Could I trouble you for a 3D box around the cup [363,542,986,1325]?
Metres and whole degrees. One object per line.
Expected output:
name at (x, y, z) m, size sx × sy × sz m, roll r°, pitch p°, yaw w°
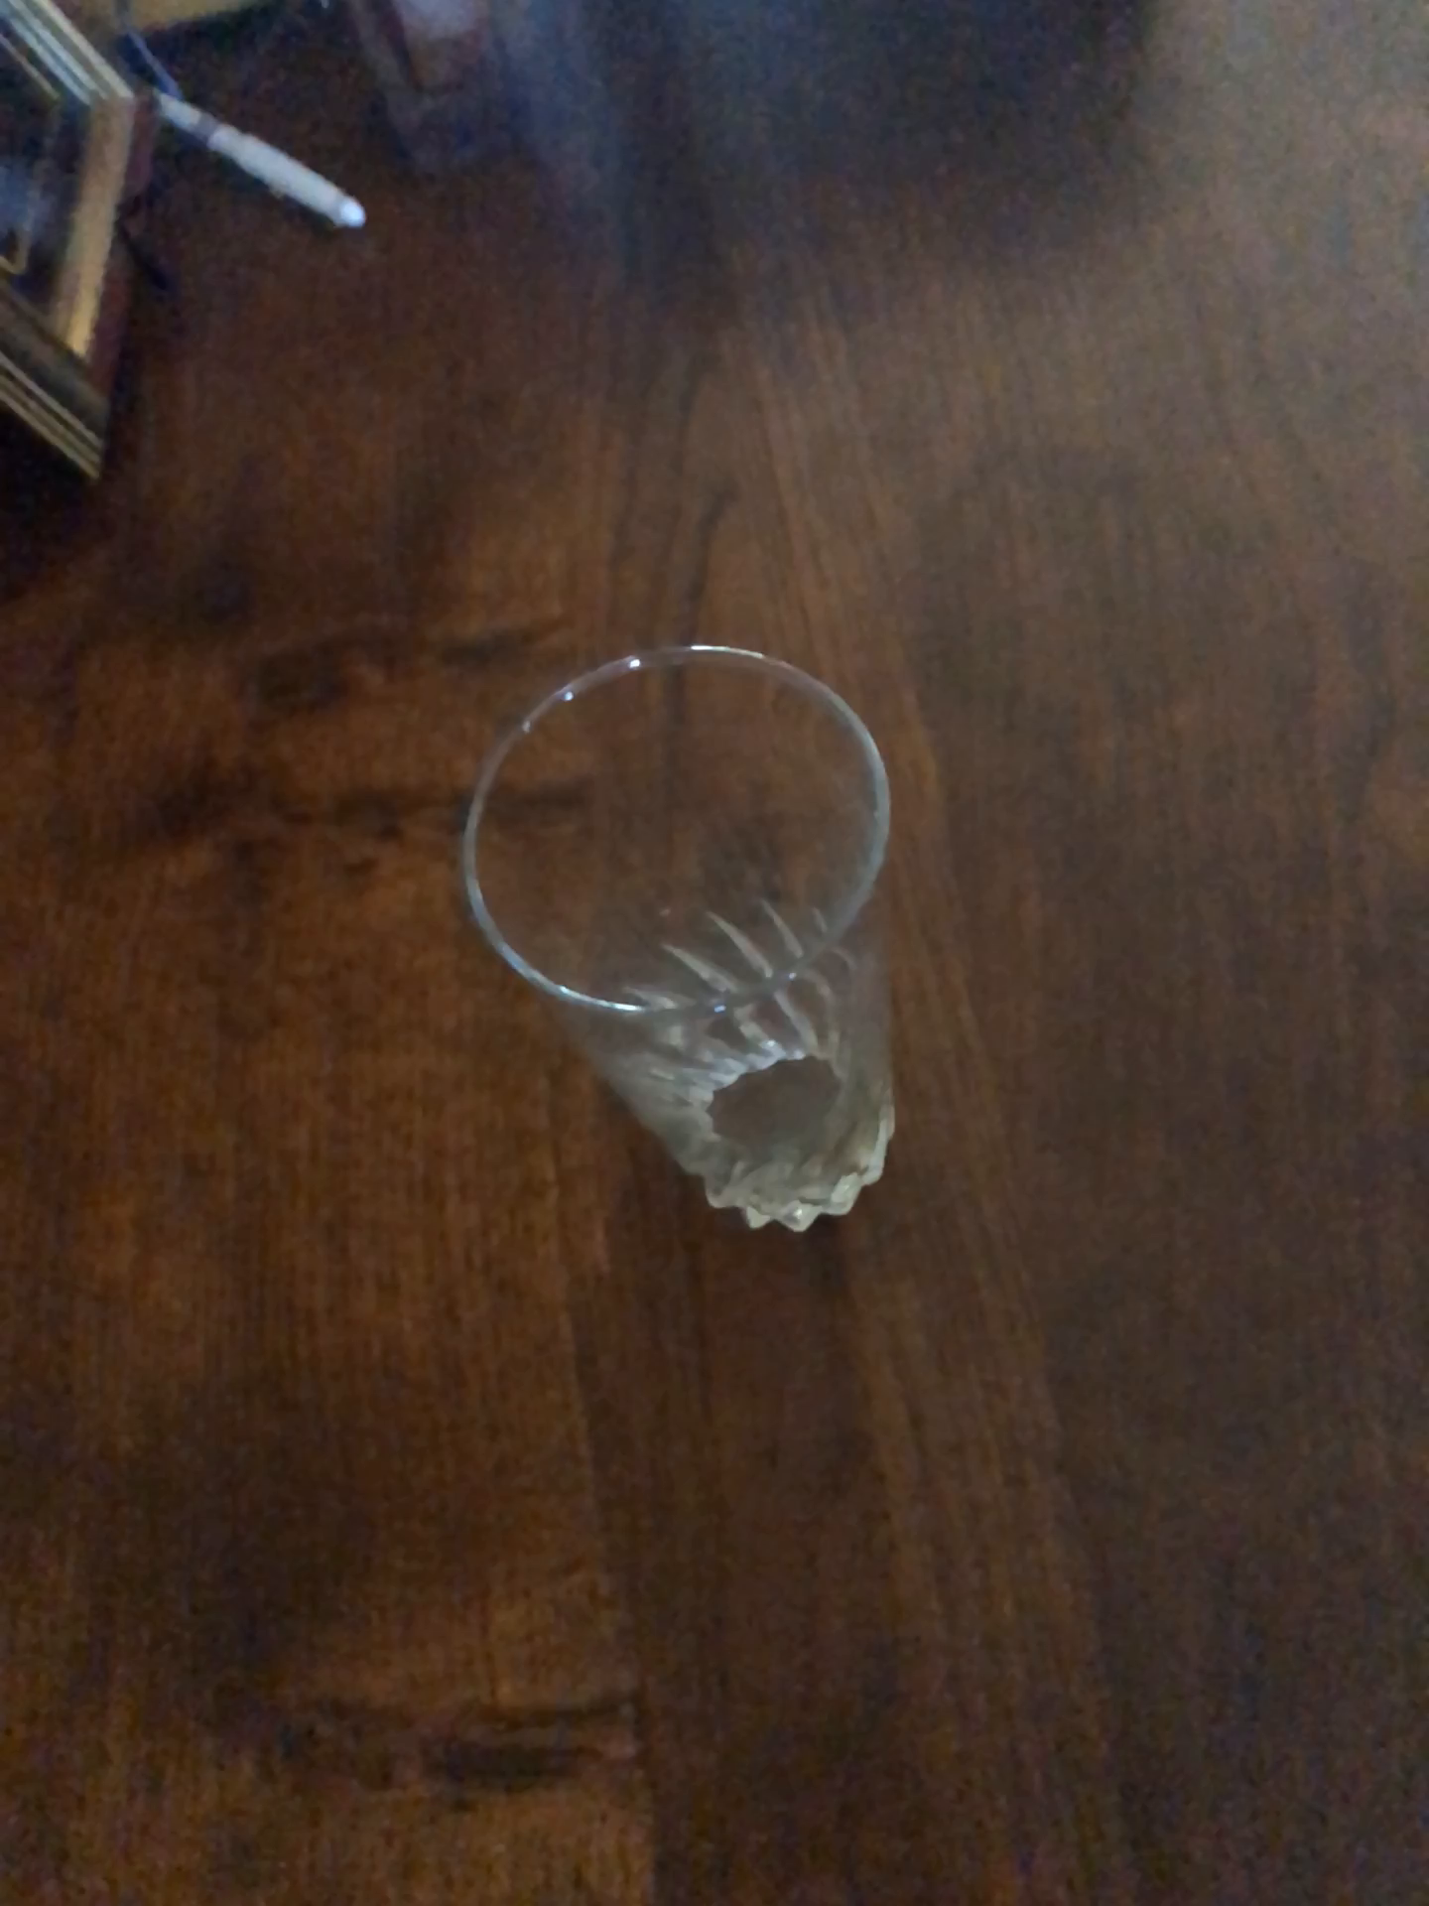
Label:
cup at (0.003, 0.007, 0.317) m, size 0.070 × 0.150 × 0.070 m, roll -4°, pitch 63°, yaw 8°
